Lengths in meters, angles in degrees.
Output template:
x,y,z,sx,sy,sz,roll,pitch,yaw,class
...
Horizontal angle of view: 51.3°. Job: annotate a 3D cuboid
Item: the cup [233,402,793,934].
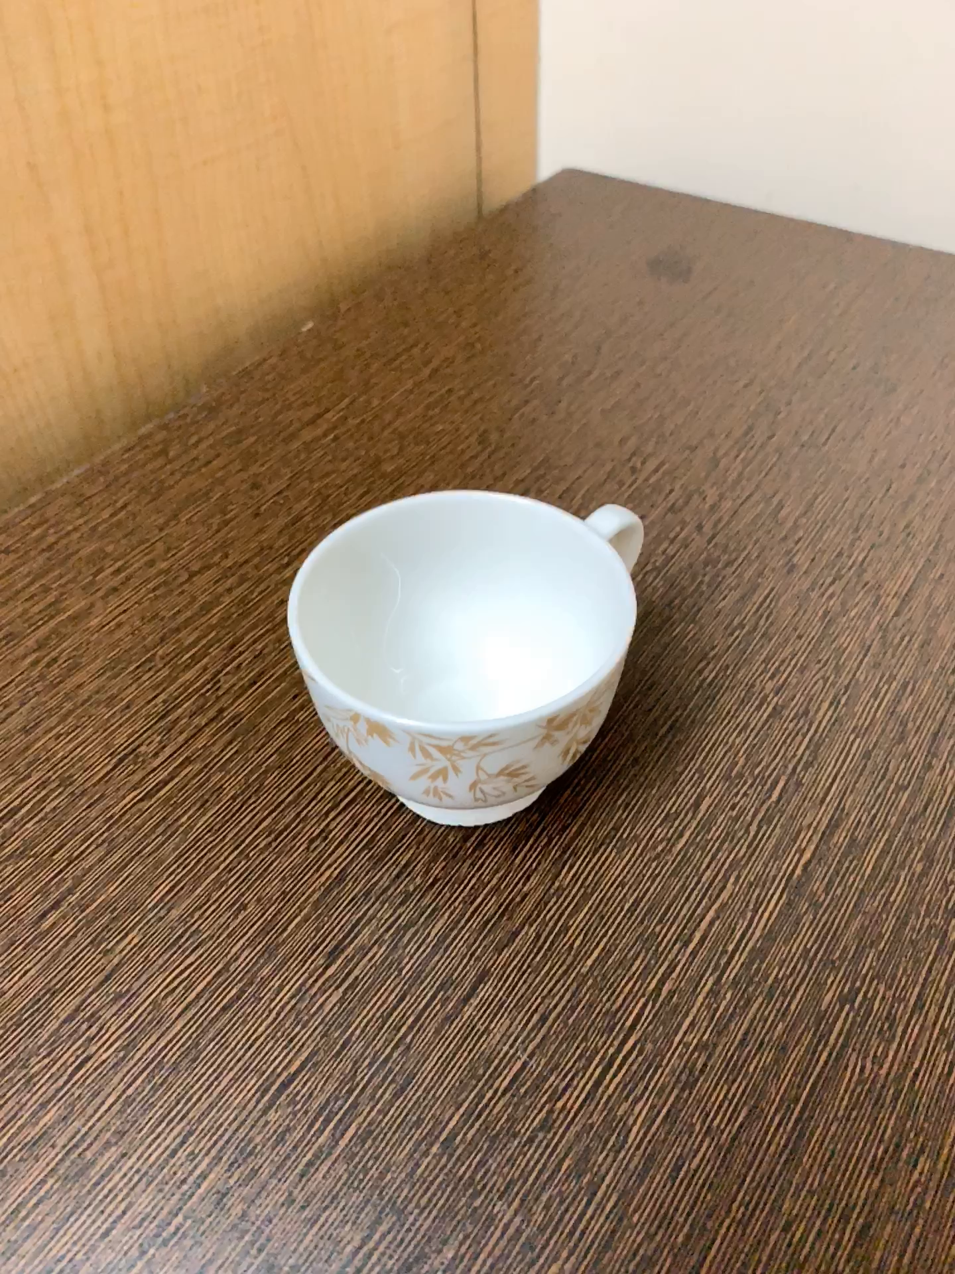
x,y,z,sx,sy,sz,roll,pitch,yaw,class
0.011,0.000,0.239,0.080,0.050,0.100,29,53,28,cup
